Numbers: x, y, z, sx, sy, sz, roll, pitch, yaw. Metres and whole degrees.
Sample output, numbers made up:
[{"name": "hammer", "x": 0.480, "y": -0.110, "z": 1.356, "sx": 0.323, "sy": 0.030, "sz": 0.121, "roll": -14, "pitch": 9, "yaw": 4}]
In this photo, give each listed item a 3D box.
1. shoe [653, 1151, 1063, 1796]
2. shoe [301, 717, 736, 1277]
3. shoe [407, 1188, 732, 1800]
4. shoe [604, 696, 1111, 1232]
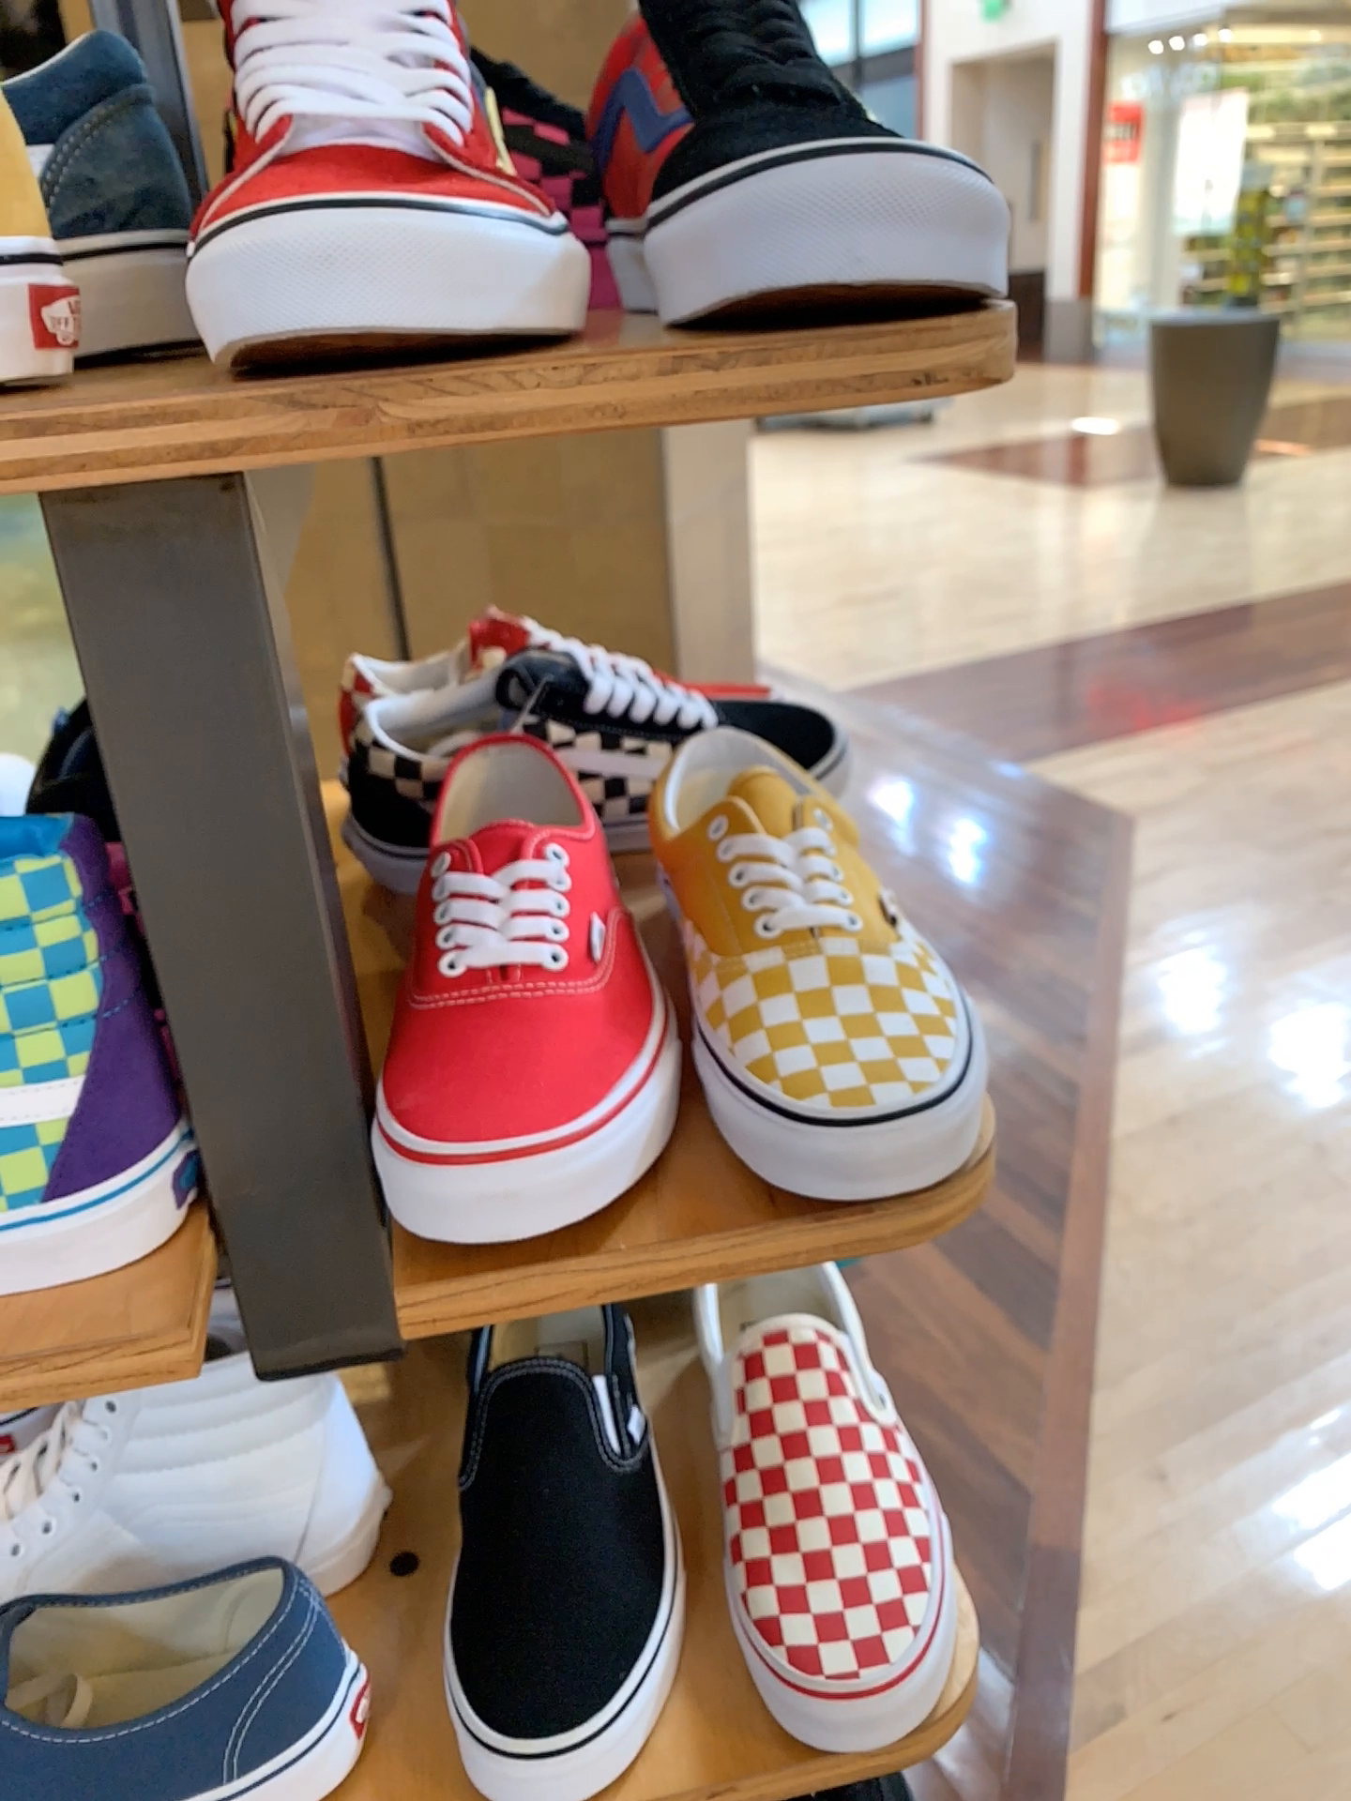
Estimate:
[{"name": "shoe", "x": 0.061, "y": 0.217, "z": 0.595, "sx": 0.103, "sy": 0.067, "sz": 0.269, "roll": -6, "pitch": 25, "yaw": -6}, {"name": "shoe", "x": -0.058, "y": 0.011, "z": 0.495, "sx": 0.109, "sy": 0.067, "sz": 0.269, "roll": -6, "pitch": 25, "yaw": -6}, {"name": "shoe", "x": -0.053, "y": 0.236, "z": 0.597, "sx": 0.105, "sy": 0.067, "sz": 0.269, "roll": -6, "pitch": 25, "yaw": -6}, {"name": "shoe", "x": 0.045, "y": 0.001, "z": 0.502, "sx": 0.103, "sy": 0.067, "sz": 0.269, "roll": -7, "pitch": 25, "yaw": -8}]
